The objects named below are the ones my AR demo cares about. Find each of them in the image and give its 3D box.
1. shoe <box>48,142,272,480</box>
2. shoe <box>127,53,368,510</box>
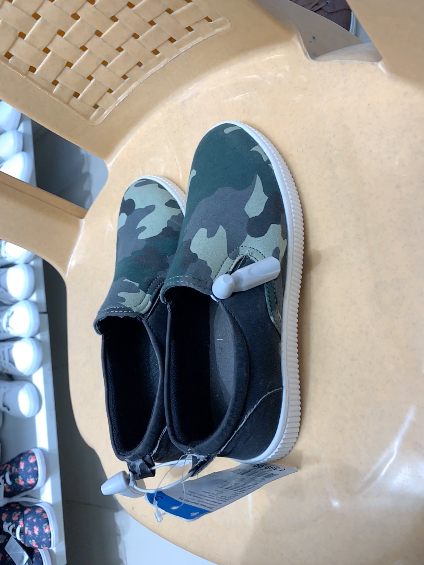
[{"bbox_3d":[-0.046,0.022,0.343,0.091,0.099,0.220,-26,70,39],"label":"shoe"},{"bbox_3d":[0.018,0.001,0.288,0.091,0.099,0.240,-17,73,41],"label":"shoe"}]
